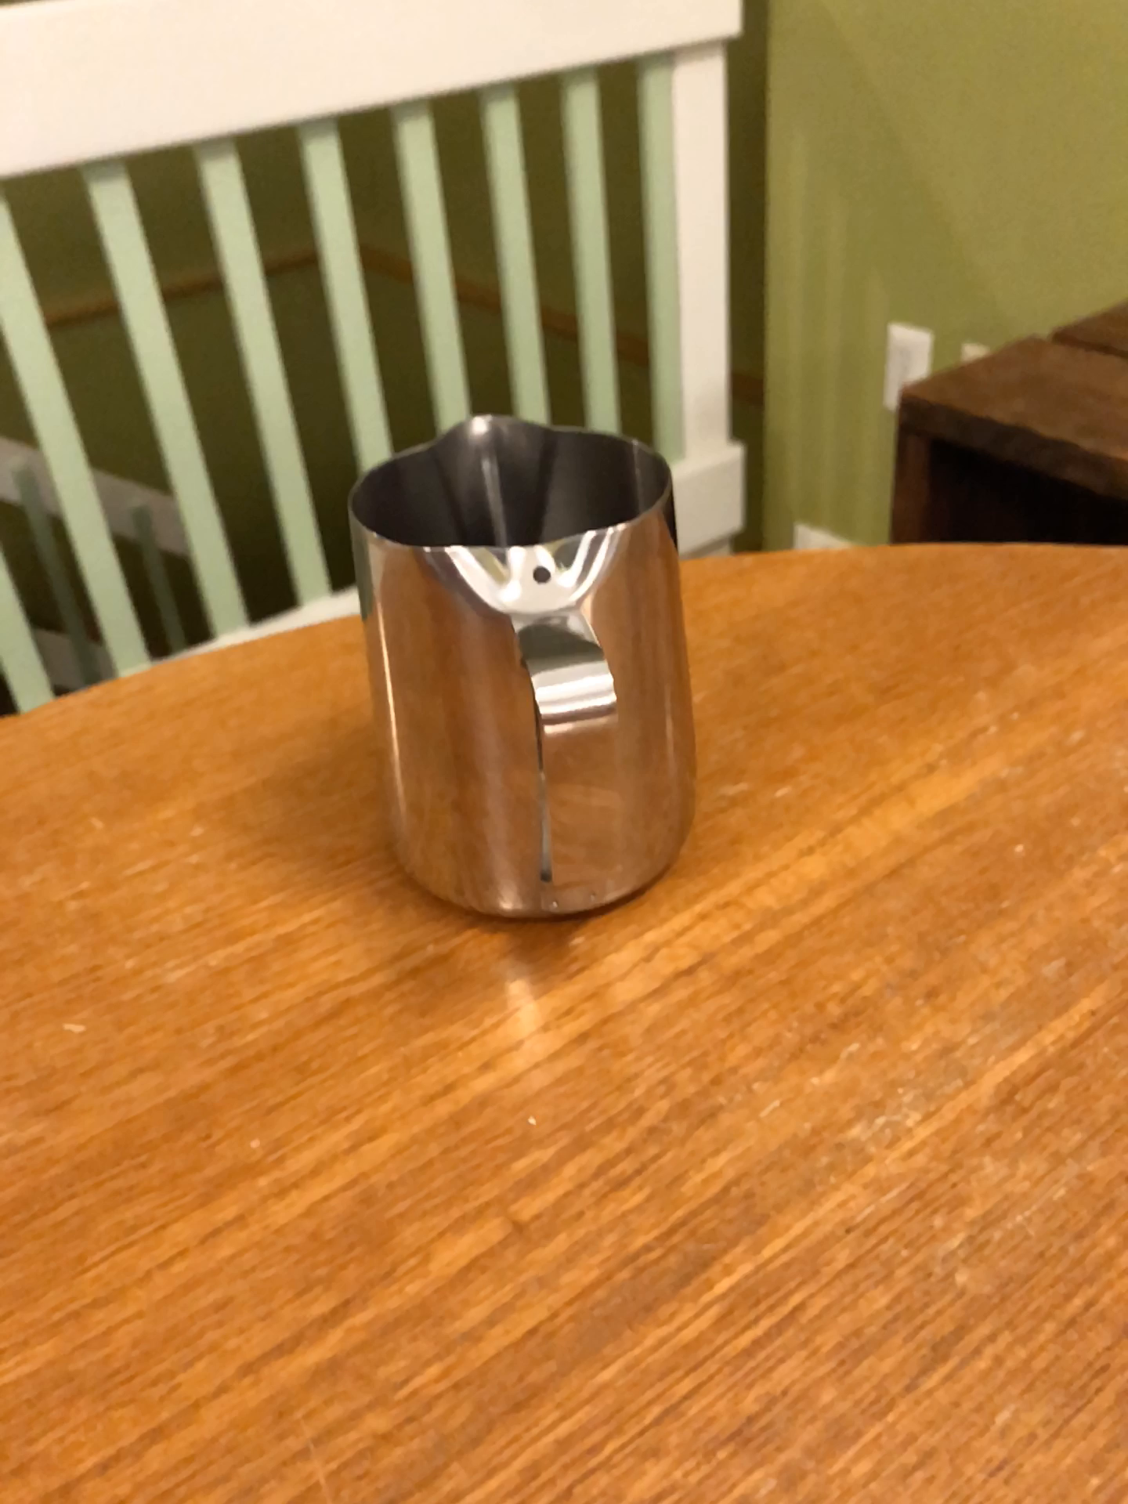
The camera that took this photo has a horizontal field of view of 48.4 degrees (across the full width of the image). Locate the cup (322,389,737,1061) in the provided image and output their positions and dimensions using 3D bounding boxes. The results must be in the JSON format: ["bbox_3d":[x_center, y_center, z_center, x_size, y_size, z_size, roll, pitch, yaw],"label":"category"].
[{"bbox_3d":[-0.010,-0.014,0.336,0.082,0.114,0.136,-8,35,-3],"label":"cup"}]
